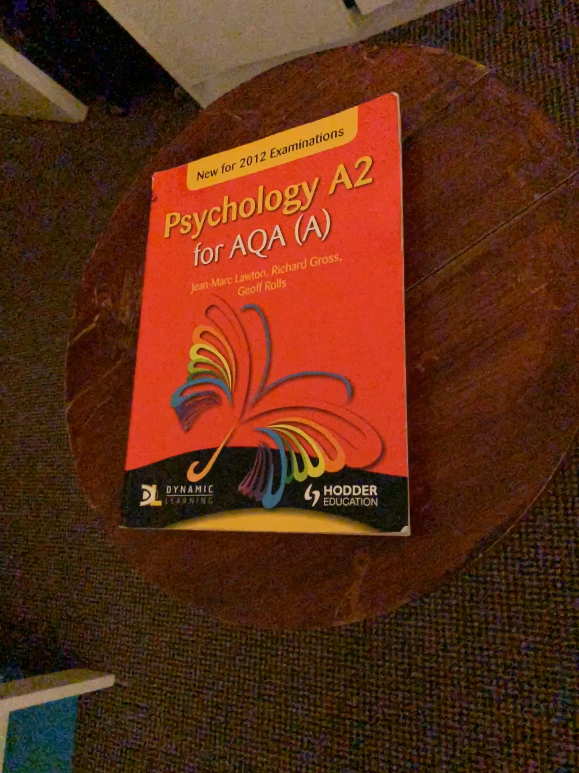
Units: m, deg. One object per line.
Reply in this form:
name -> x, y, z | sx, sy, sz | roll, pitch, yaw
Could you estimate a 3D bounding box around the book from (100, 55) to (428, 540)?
book -> -0.020, -0.051, 0.398 | 0.211, 0.040, 0.291 | -6, 73, 29
